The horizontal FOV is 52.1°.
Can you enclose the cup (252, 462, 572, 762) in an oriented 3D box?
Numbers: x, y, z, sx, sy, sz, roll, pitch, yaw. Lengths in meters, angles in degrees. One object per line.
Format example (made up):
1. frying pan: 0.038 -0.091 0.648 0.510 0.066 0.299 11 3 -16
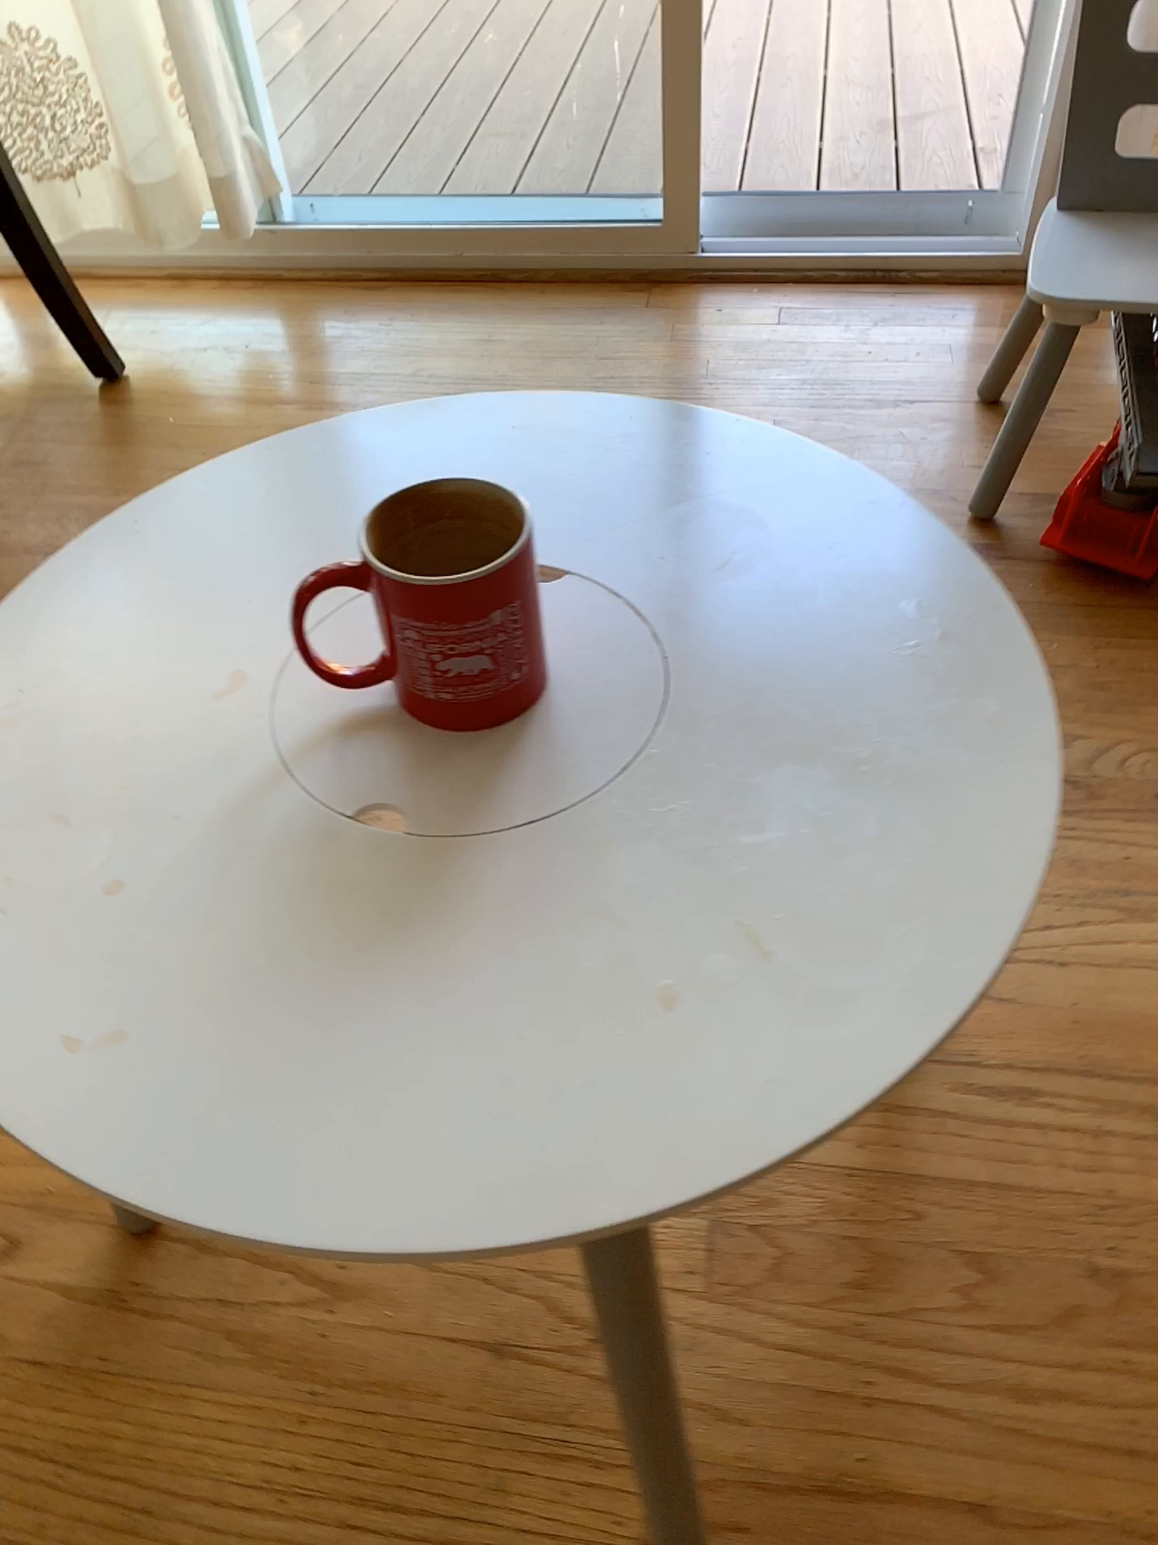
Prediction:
1. cup: -0.076 -0.076 0.565 0.130 0.090 0.090 -7 48 -1
